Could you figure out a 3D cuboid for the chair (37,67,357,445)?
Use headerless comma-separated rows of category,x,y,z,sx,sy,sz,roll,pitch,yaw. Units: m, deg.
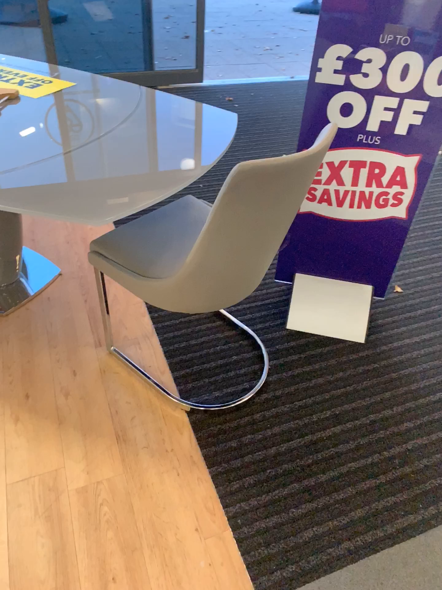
chair,-0.073,-0.127,1.369,0.592,0.846,0.510,30,46,27
